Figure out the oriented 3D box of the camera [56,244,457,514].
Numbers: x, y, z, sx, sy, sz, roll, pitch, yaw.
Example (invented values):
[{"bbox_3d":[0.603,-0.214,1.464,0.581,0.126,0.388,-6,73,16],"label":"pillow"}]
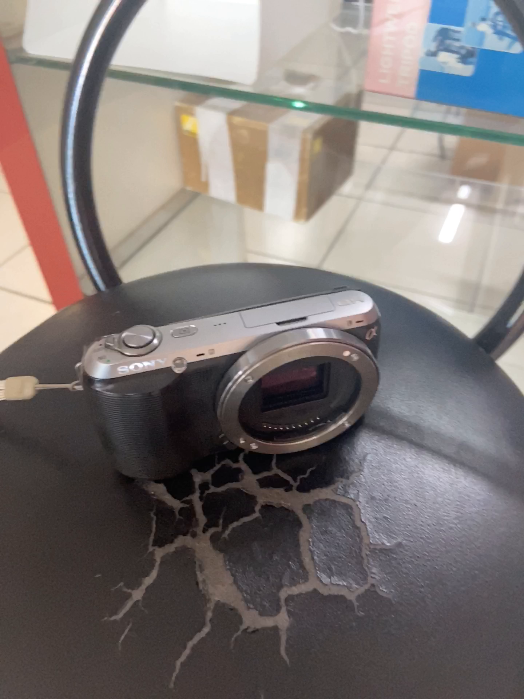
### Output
[{"bbox_3d":[-0.002,0.009,0.193,0.120,0.060,0.040,-12,44,-11],"label":"camera"}]
